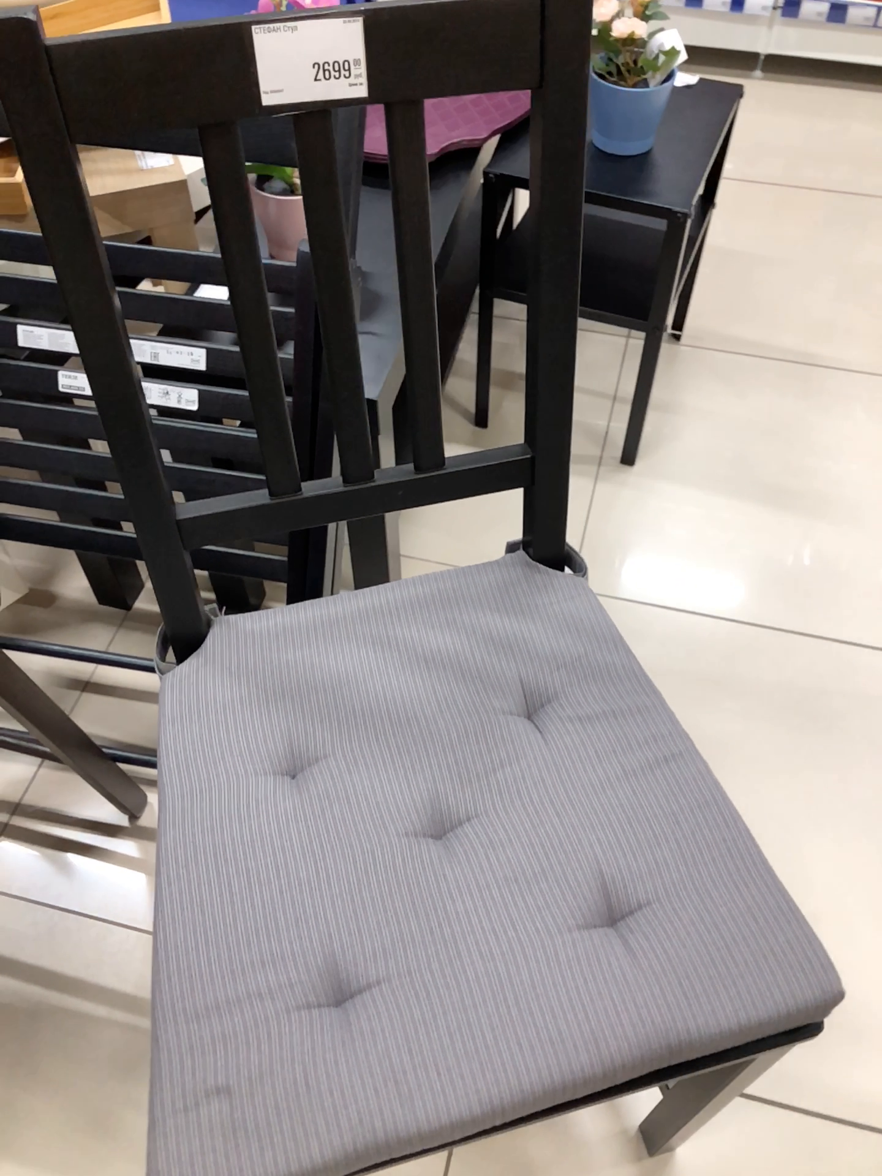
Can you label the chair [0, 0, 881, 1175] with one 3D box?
[{"bbox_3d":[-0.016,0.144,0.703,0.410,0.894,0.493,-12,52,-9],"label":"chair"}]
